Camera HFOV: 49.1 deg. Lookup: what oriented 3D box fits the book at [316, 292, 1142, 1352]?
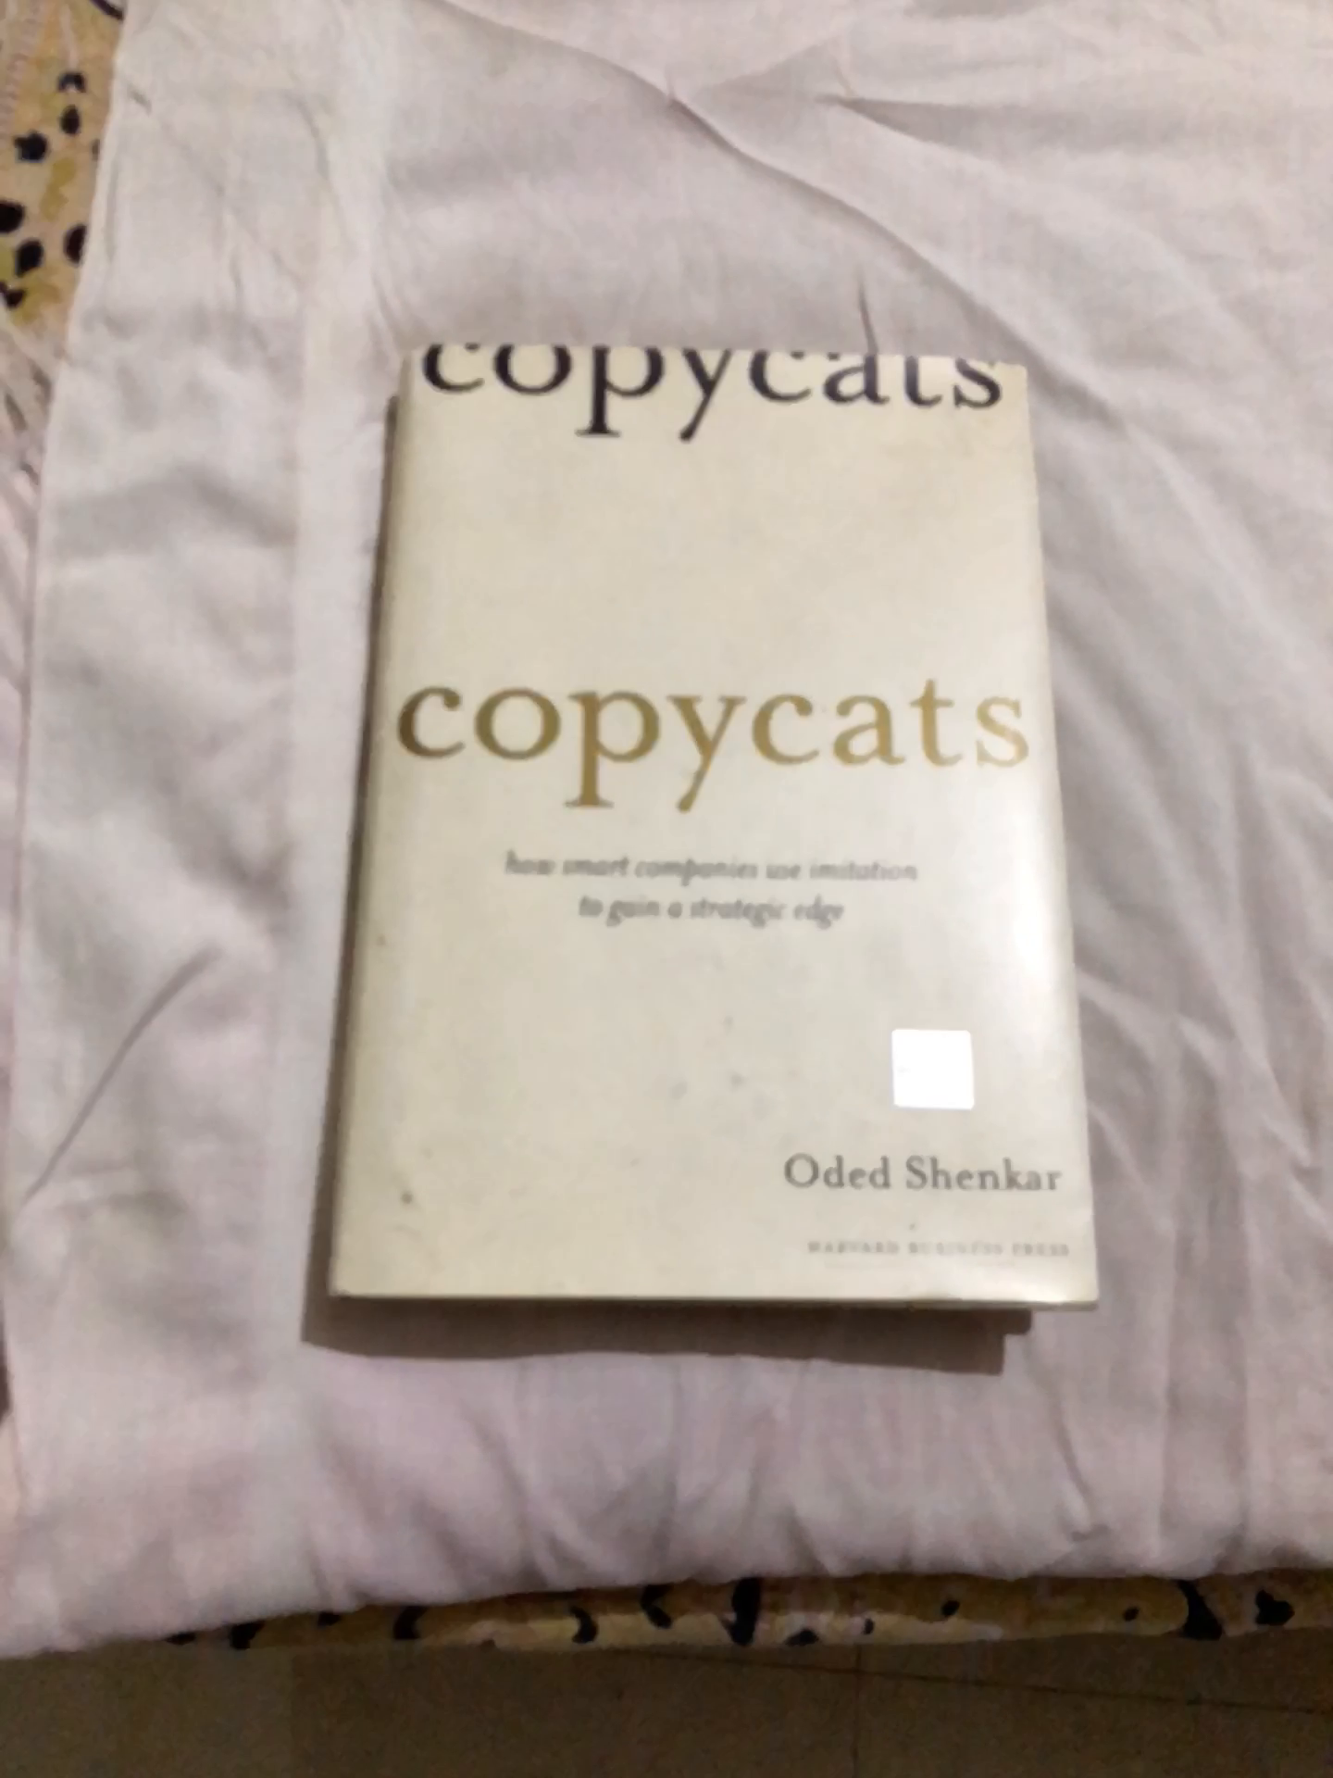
[{"bbox_3d":[0.014,-0.021,0.320,0.150,0.040,0.230,1,72,1],"label":"book"}]
